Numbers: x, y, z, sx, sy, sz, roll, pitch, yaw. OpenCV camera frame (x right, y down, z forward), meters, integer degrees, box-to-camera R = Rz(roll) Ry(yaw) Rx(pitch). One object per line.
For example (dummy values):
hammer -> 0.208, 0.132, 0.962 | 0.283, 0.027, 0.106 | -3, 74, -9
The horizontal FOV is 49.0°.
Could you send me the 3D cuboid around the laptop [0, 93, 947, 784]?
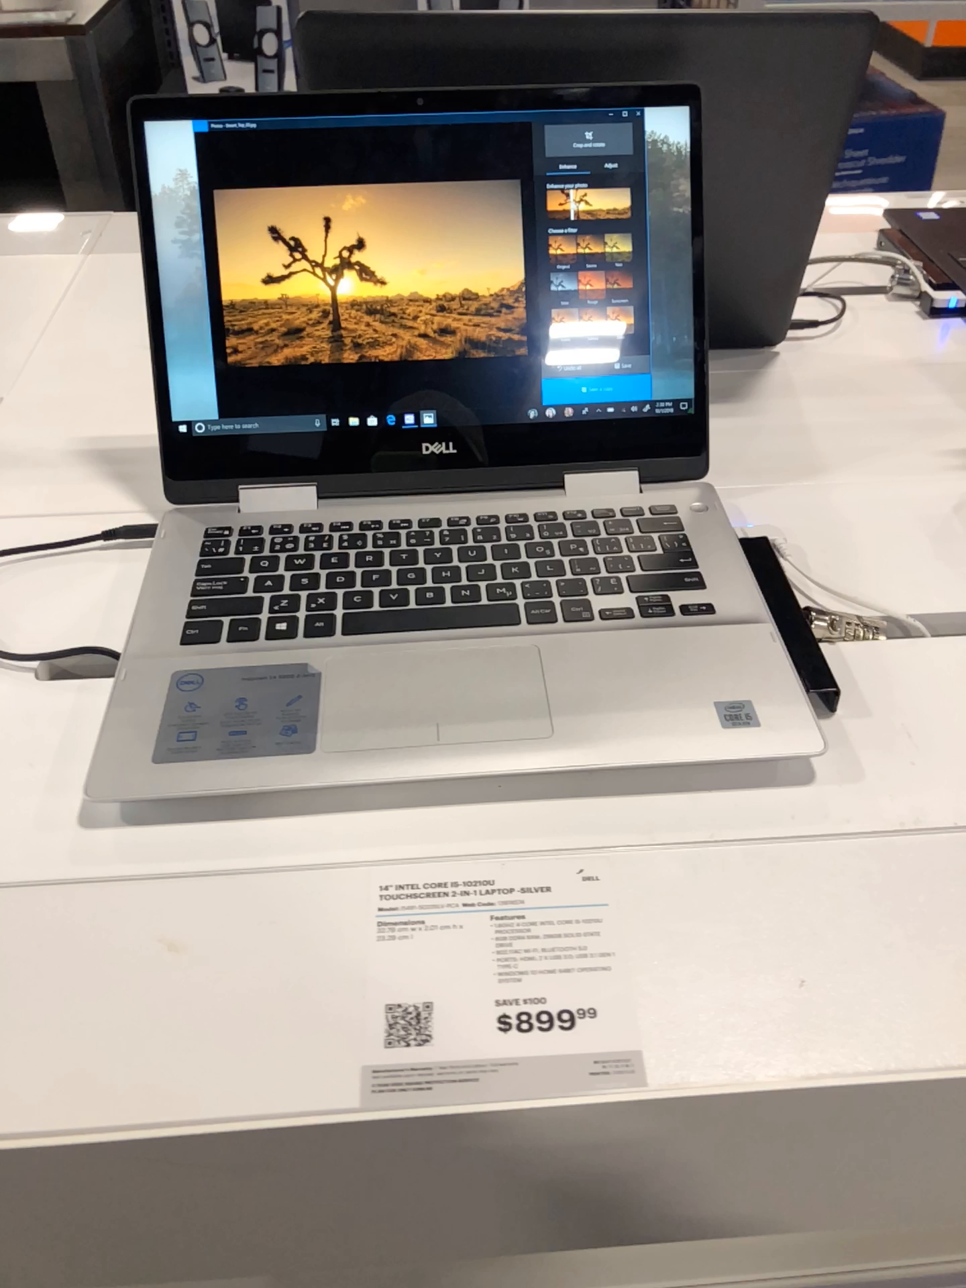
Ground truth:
laptop -> -0.022, -0.122, 0.522 | 0.311, 0.195, 0.328 | -3, 39, -1
